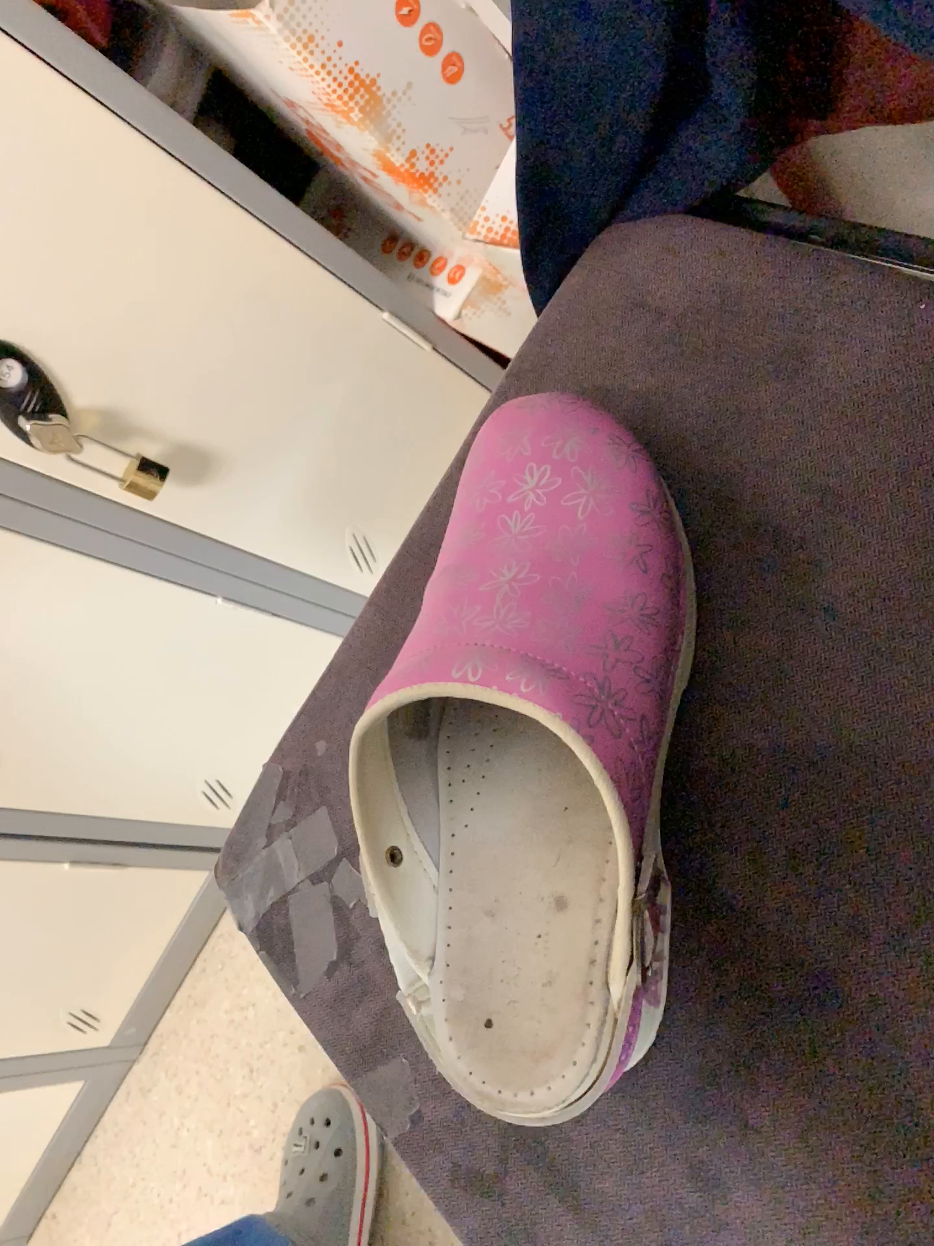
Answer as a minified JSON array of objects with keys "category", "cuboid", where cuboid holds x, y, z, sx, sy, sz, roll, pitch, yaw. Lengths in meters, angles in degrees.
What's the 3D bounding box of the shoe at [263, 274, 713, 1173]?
[{"category":"shoe","cuboid":[0.012,0.026,0.303,0.100,0.079,0.230,-9,71,36]}]
